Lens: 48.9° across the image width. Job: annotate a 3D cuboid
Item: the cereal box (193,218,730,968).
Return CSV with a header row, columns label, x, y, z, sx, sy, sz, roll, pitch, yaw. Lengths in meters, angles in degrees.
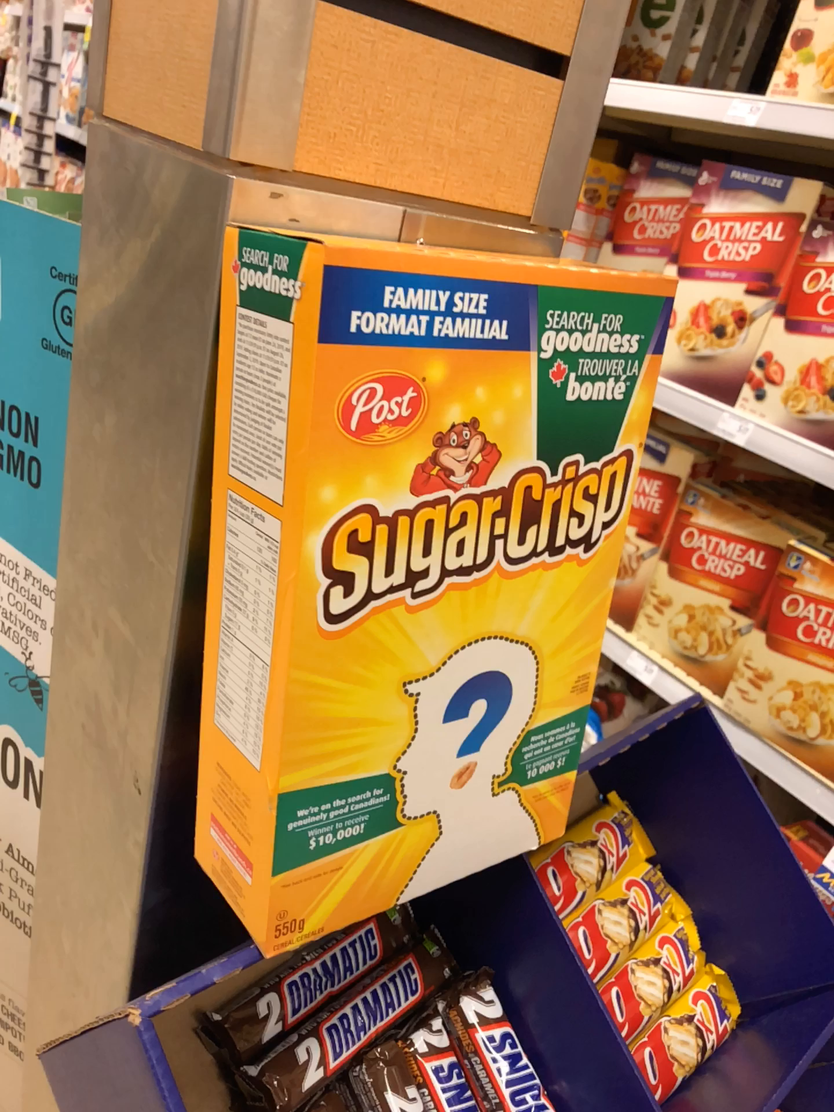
label,x,y,z,sx,sy,sz,roll,pitch,yaw
cereal box,0.019,0.010,0.442,0.220,0.299,0.080,-8,23,-37
